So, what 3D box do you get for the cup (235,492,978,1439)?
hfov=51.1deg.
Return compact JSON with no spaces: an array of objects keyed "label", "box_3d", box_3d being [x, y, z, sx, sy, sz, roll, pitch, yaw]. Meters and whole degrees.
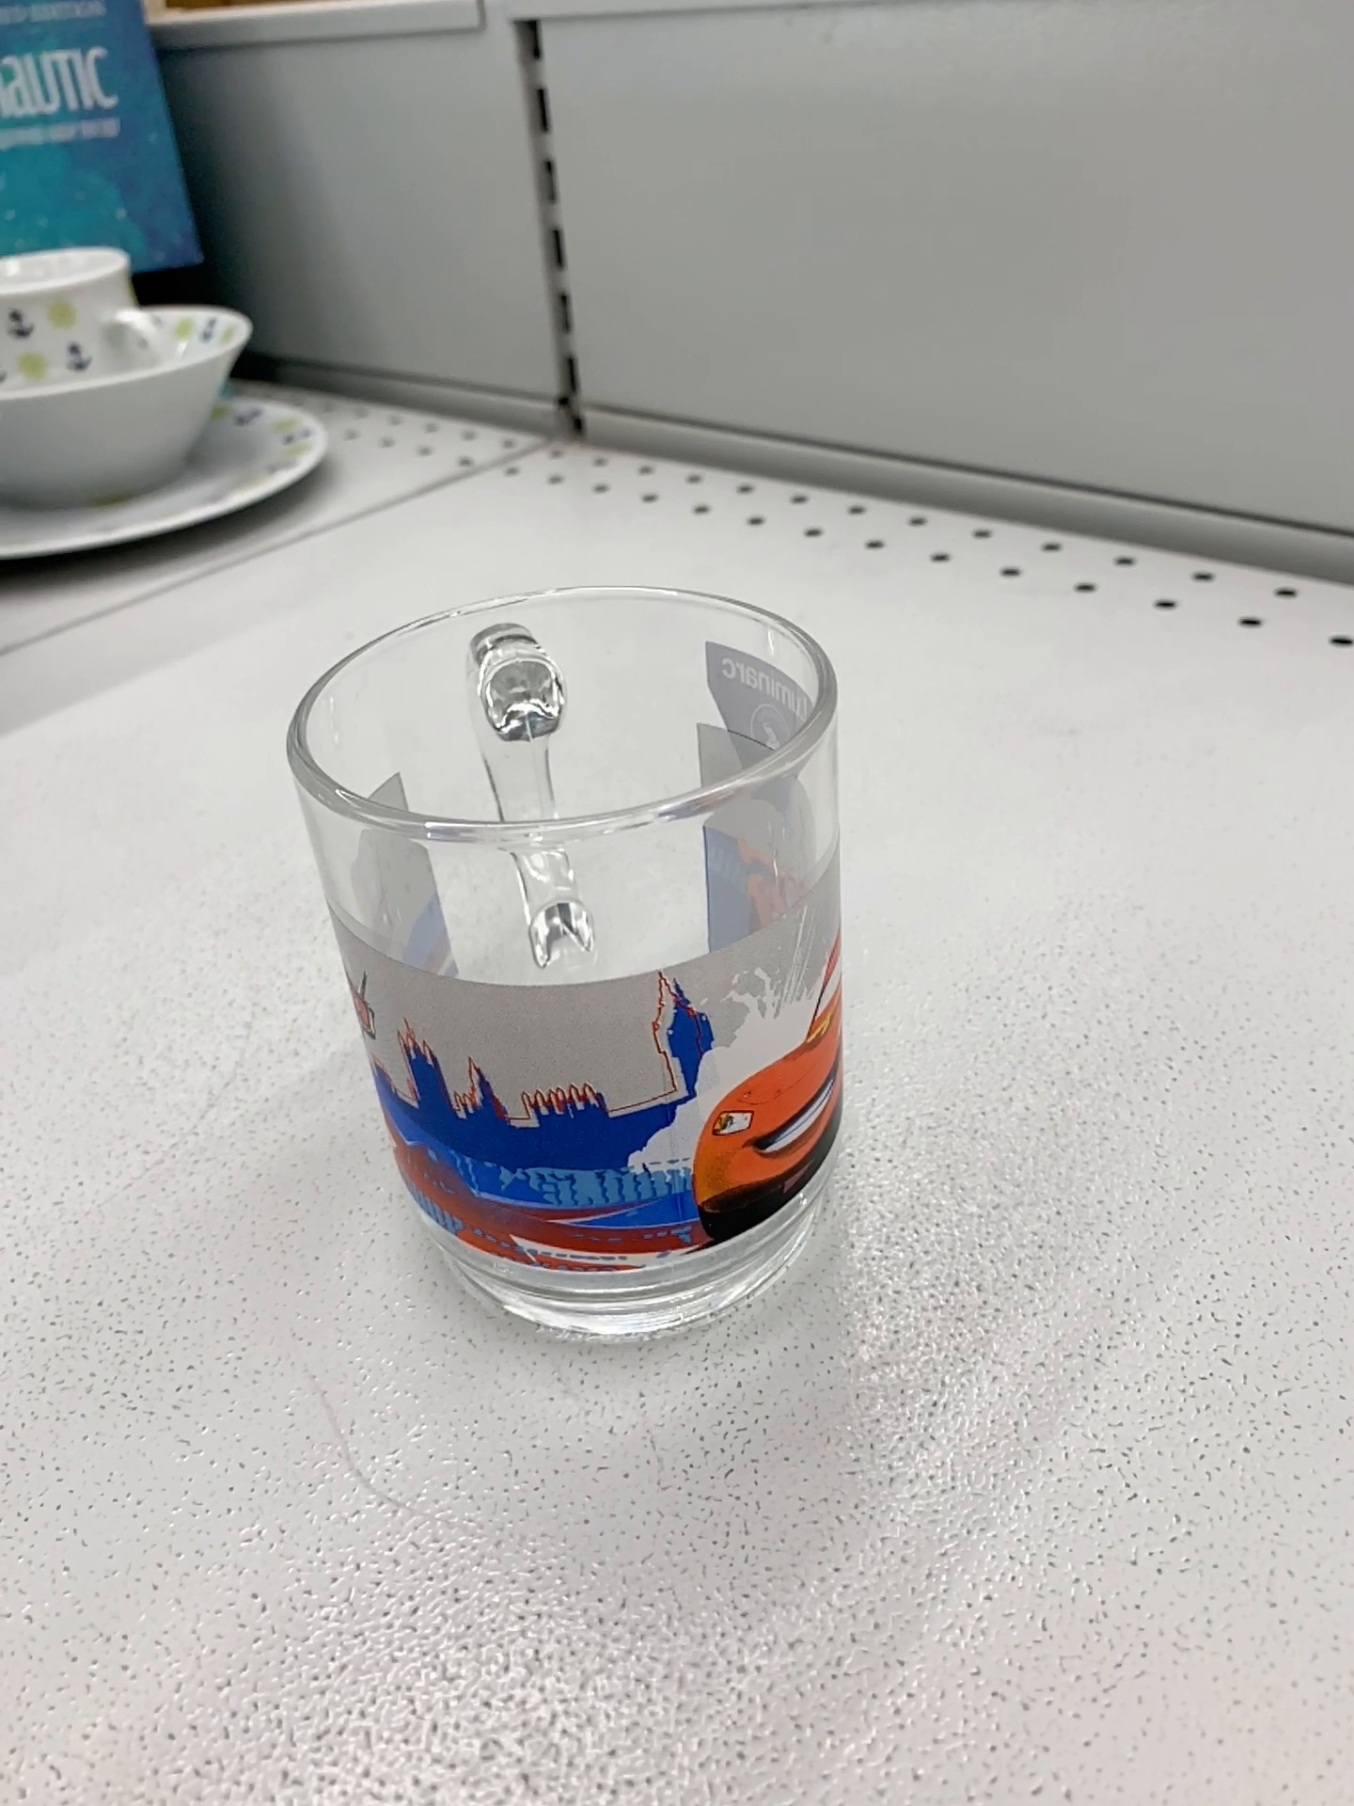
[{"label":"cup","box_3d":[-0.009,0.001,0.200,0.072,0.081,0.102,-8,33,-3]}]
